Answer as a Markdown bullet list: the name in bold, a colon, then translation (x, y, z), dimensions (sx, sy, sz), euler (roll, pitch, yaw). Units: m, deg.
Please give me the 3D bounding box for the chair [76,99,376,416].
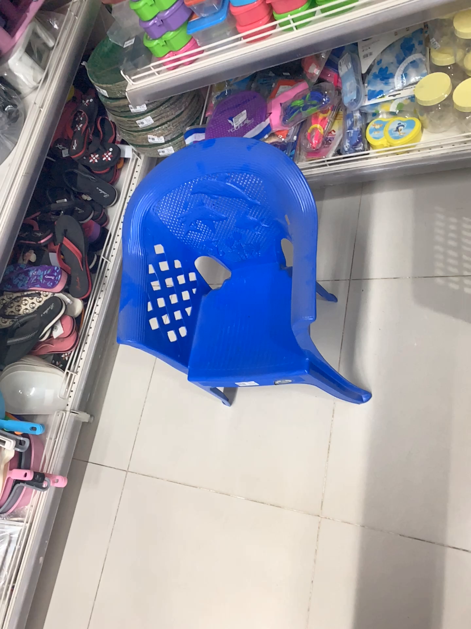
- **chair**: translation (0.025, -0.056, 1.036), dimensions (0.422, 0.468, 0.450), euler (-8, 65, 28)
